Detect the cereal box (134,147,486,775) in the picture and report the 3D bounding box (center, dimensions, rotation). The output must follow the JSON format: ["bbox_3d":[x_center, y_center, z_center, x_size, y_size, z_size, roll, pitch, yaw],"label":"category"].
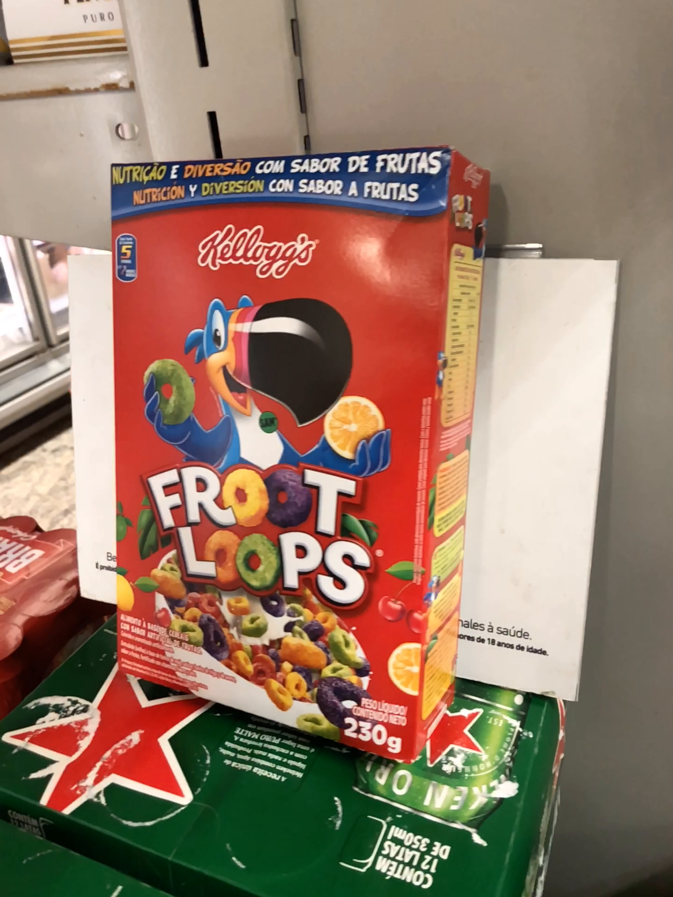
[{"bbox_3d":[-0.018,0.001,0.362,0.150,0.259,0.060,7,11,26],"label":"cereal box"}]
